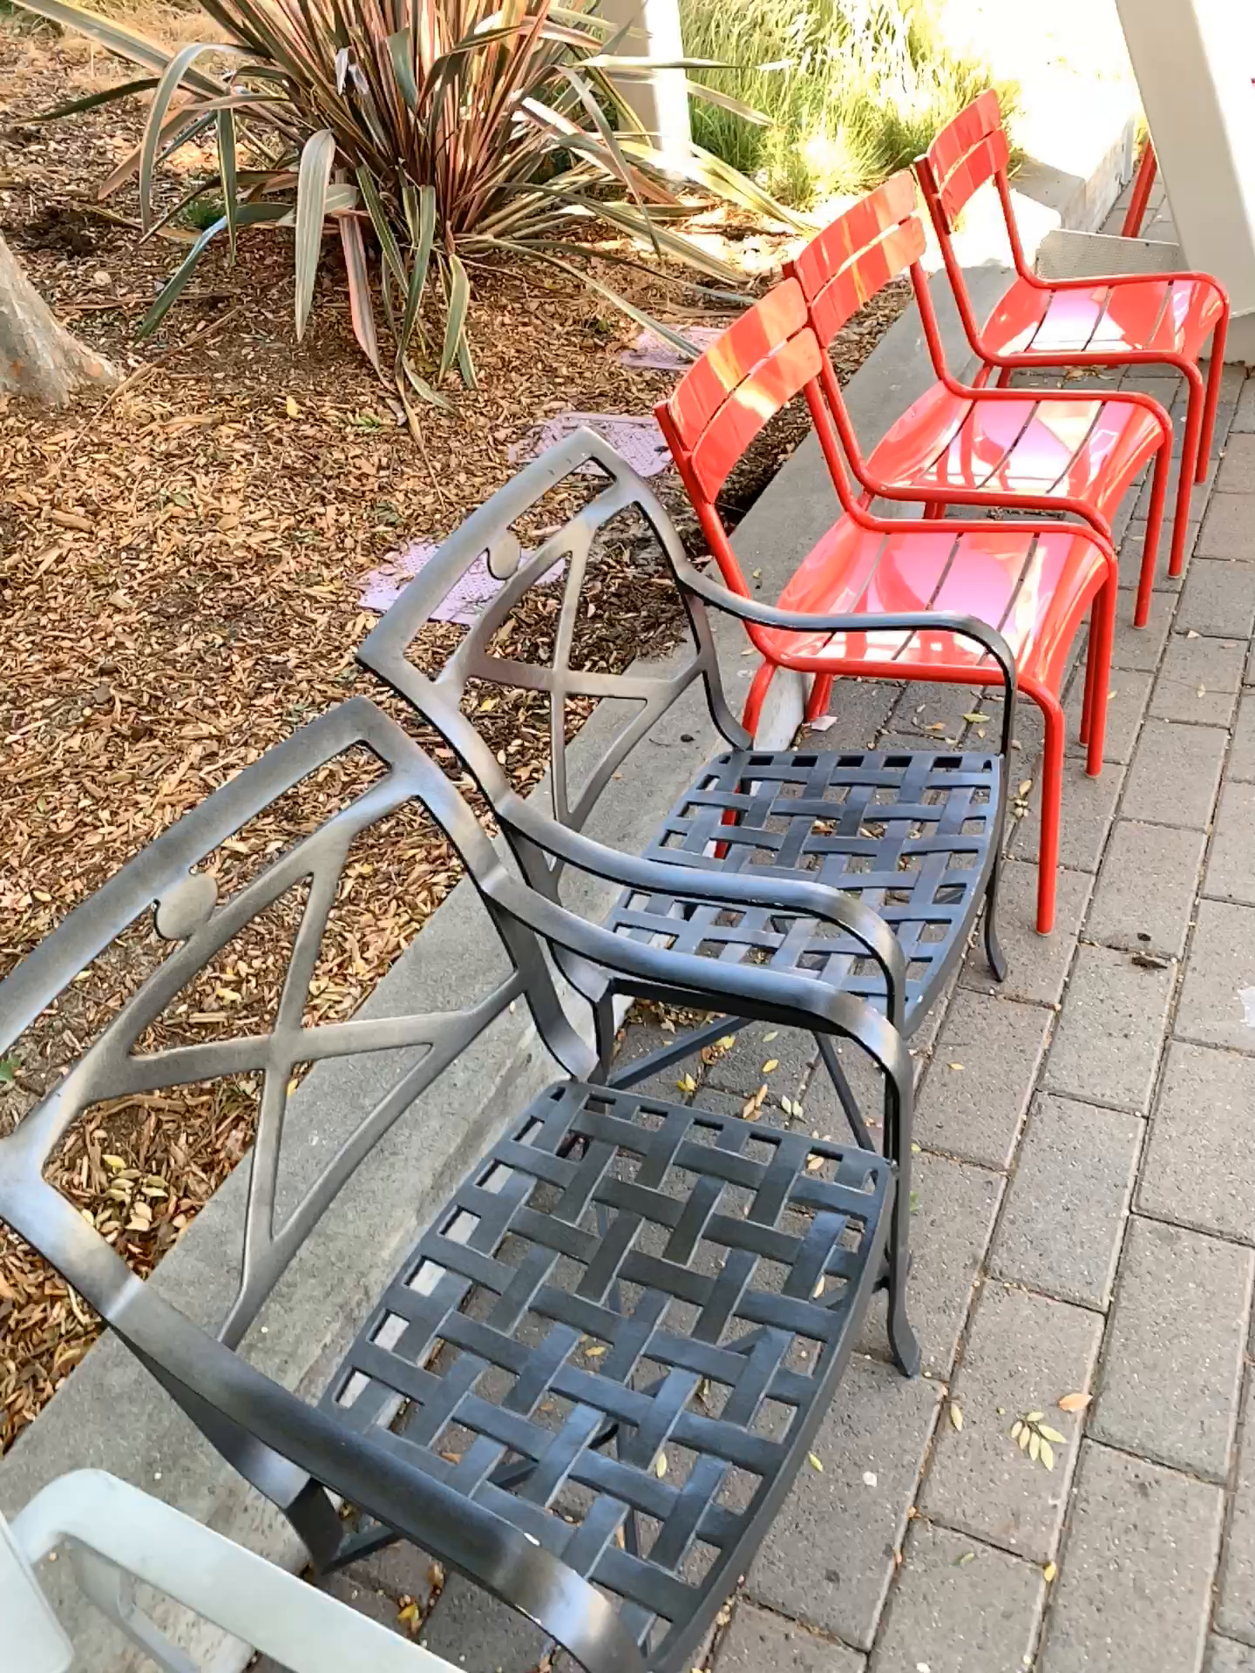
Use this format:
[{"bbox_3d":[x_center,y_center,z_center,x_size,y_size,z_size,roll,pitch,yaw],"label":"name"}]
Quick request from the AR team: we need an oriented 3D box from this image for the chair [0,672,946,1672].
[{"bbox_3d":[-0.131,0.401,1.210,0.692,0.815,0.622,12,45,25],"label":"chair"}]

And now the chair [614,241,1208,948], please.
[{"bbox_3d":[0.462,-0.396,2.009,0.642,0.815,0.622,12,45,25],"label":"chair"}]

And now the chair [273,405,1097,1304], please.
[{"bbox_3d":[0.139,-0.008,1.627,0.692,0.815,0.622,12,45,25],"label":"chair"}]
